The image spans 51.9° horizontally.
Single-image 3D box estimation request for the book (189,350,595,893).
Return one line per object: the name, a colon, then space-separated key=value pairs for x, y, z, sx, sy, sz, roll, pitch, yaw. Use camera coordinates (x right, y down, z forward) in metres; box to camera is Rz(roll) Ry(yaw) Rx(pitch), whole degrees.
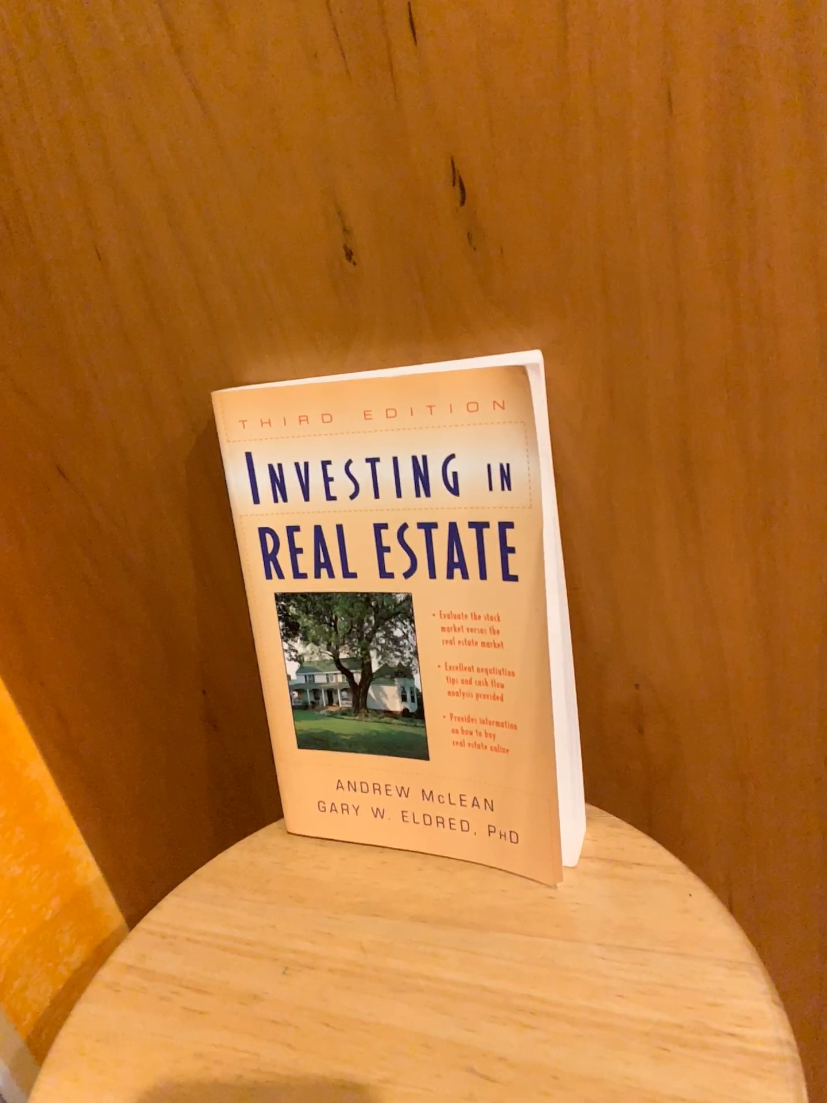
book: x=-0.007 y=0.032 z=0.400 sx=0.160 sy=0.229 sz=0.050 roll=-1 pitch=13 yaw=23
